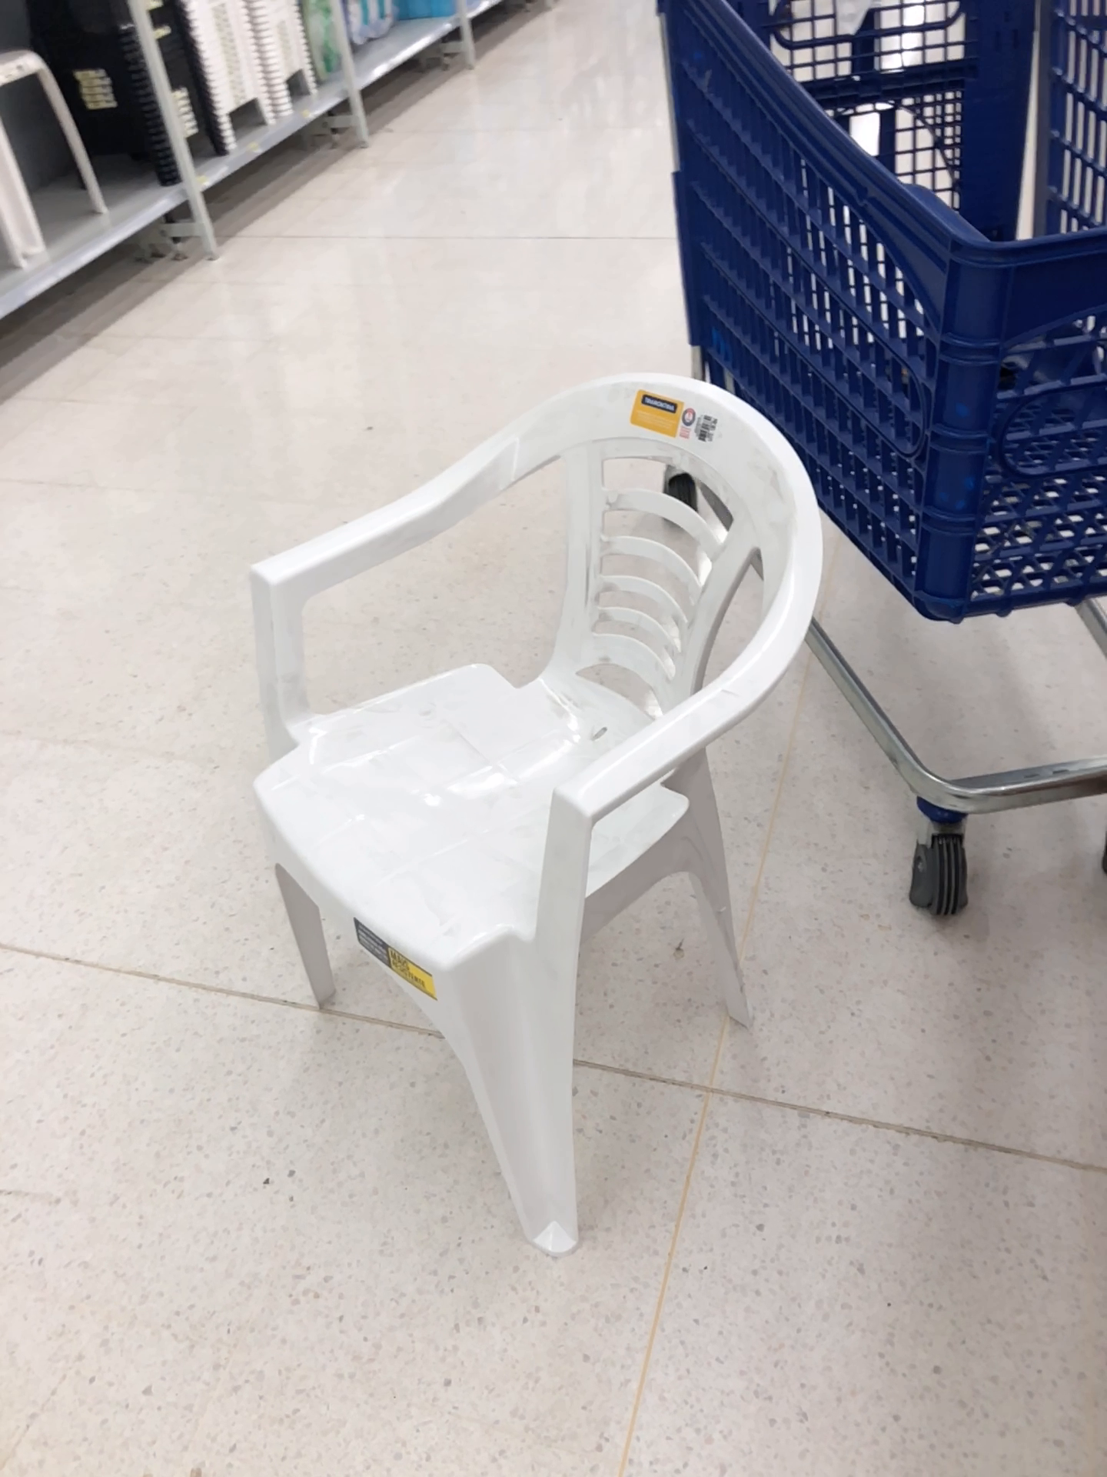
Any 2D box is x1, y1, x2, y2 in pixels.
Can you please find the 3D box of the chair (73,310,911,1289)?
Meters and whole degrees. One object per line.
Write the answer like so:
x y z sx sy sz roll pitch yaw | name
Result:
-0.034 0.038 1.245 0.501 0.695 0.523 -32 45 -27 | chair
